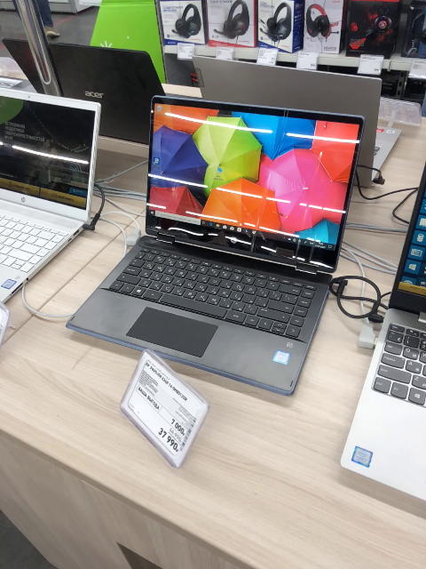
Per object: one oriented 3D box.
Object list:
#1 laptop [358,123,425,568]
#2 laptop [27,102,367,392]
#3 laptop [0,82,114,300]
[{"bbox_3d":[0.367,0.041,0.439,0.352,0.218,0.330,16,45,22],"label":"laptop"},{"bbox_3d":[0.004,-0.084,0.650,0.326,0.194,0.327,13,44,19],"label":"laptop"},{"bbox_3d":[-0.395,-0.185,0.811,0.292,0.171,0.324,16,46,19],"label":"laptop"}]
